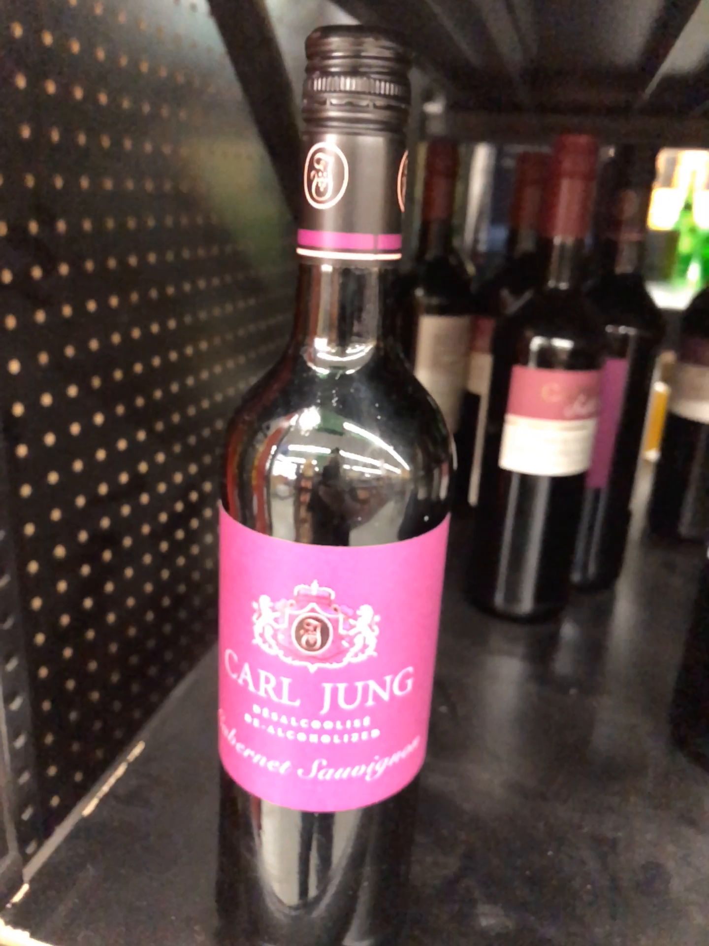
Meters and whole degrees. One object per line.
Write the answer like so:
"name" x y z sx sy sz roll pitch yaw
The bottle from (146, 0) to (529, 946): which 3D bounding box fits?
"bottle" -0.007 0.026 0.250 0.080 0.288 0.080 3 19 -1
